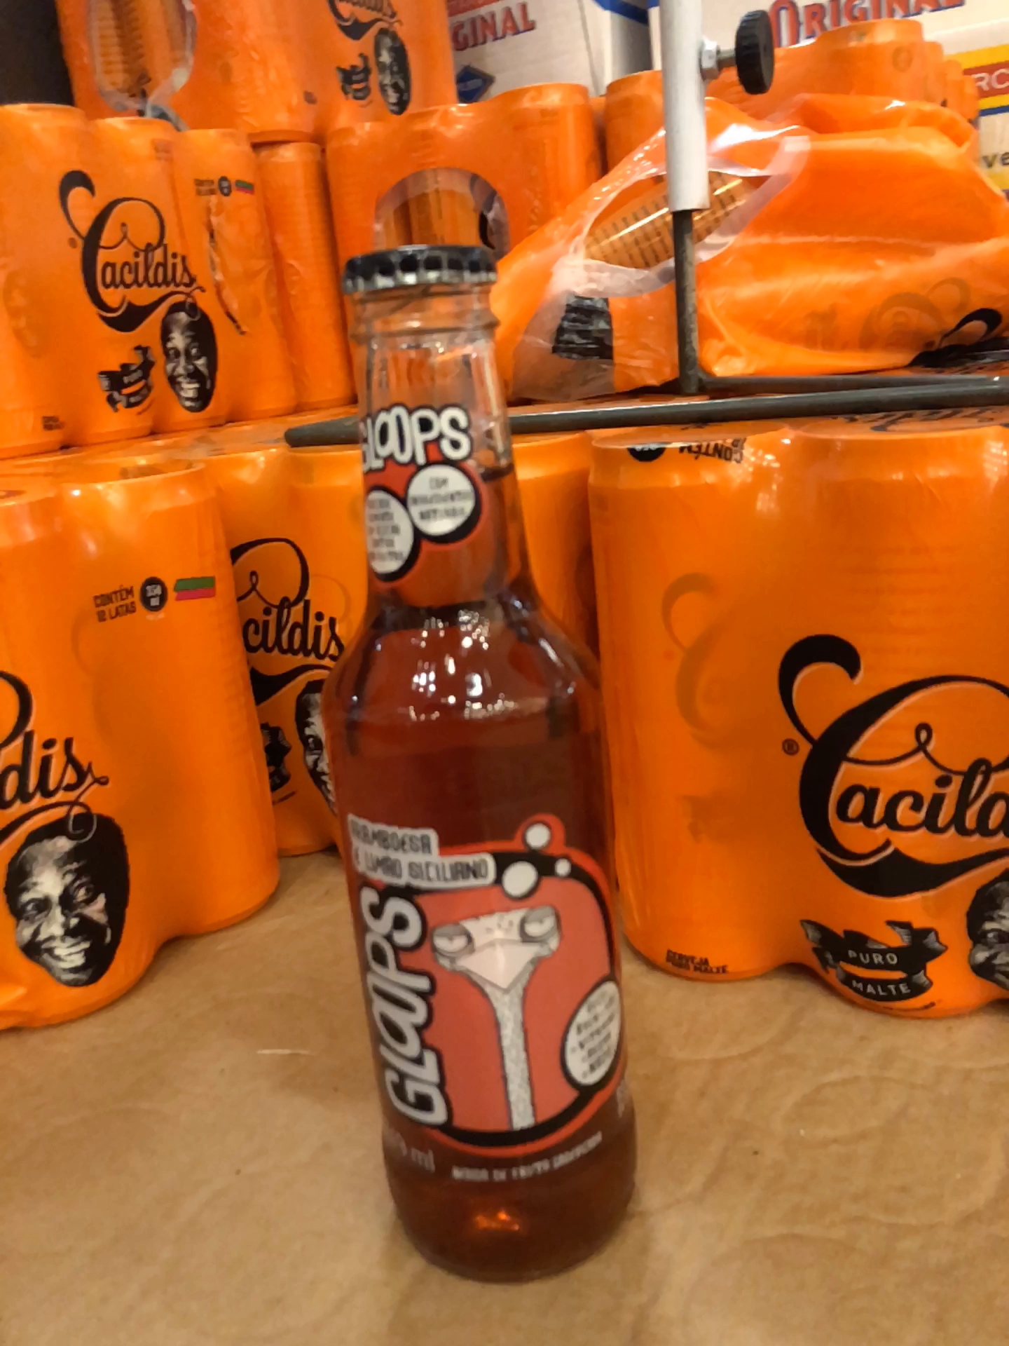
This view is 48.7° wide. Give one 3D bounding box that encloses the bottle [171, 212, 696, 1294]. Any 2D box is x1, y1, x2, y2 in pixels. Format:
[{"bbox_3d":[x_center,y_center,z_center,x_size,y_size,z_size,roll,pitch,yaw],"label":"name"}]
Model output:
[{"bbox_3d":[-0.004,0.019,0.213,0.070,0.189,0.050,-3,16,11],"label":"bottle"}]
